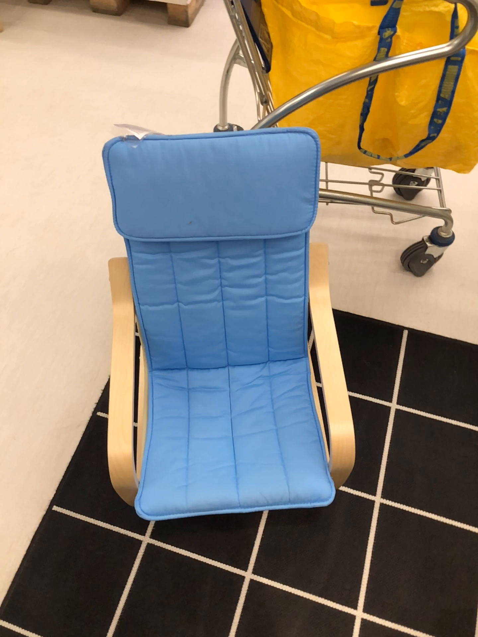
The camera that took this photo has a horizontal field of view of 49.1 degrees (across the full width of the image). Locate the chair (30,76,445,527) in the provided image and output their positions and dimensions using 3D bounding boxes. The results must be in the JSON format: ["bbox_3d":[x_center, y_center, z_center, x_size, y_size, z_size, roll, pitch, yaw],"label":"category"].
[{"bbox_3d":[-0.017,0.057,1.136,0.490,0.876,0.562,-4,58,-2],"label":"chair"}]
